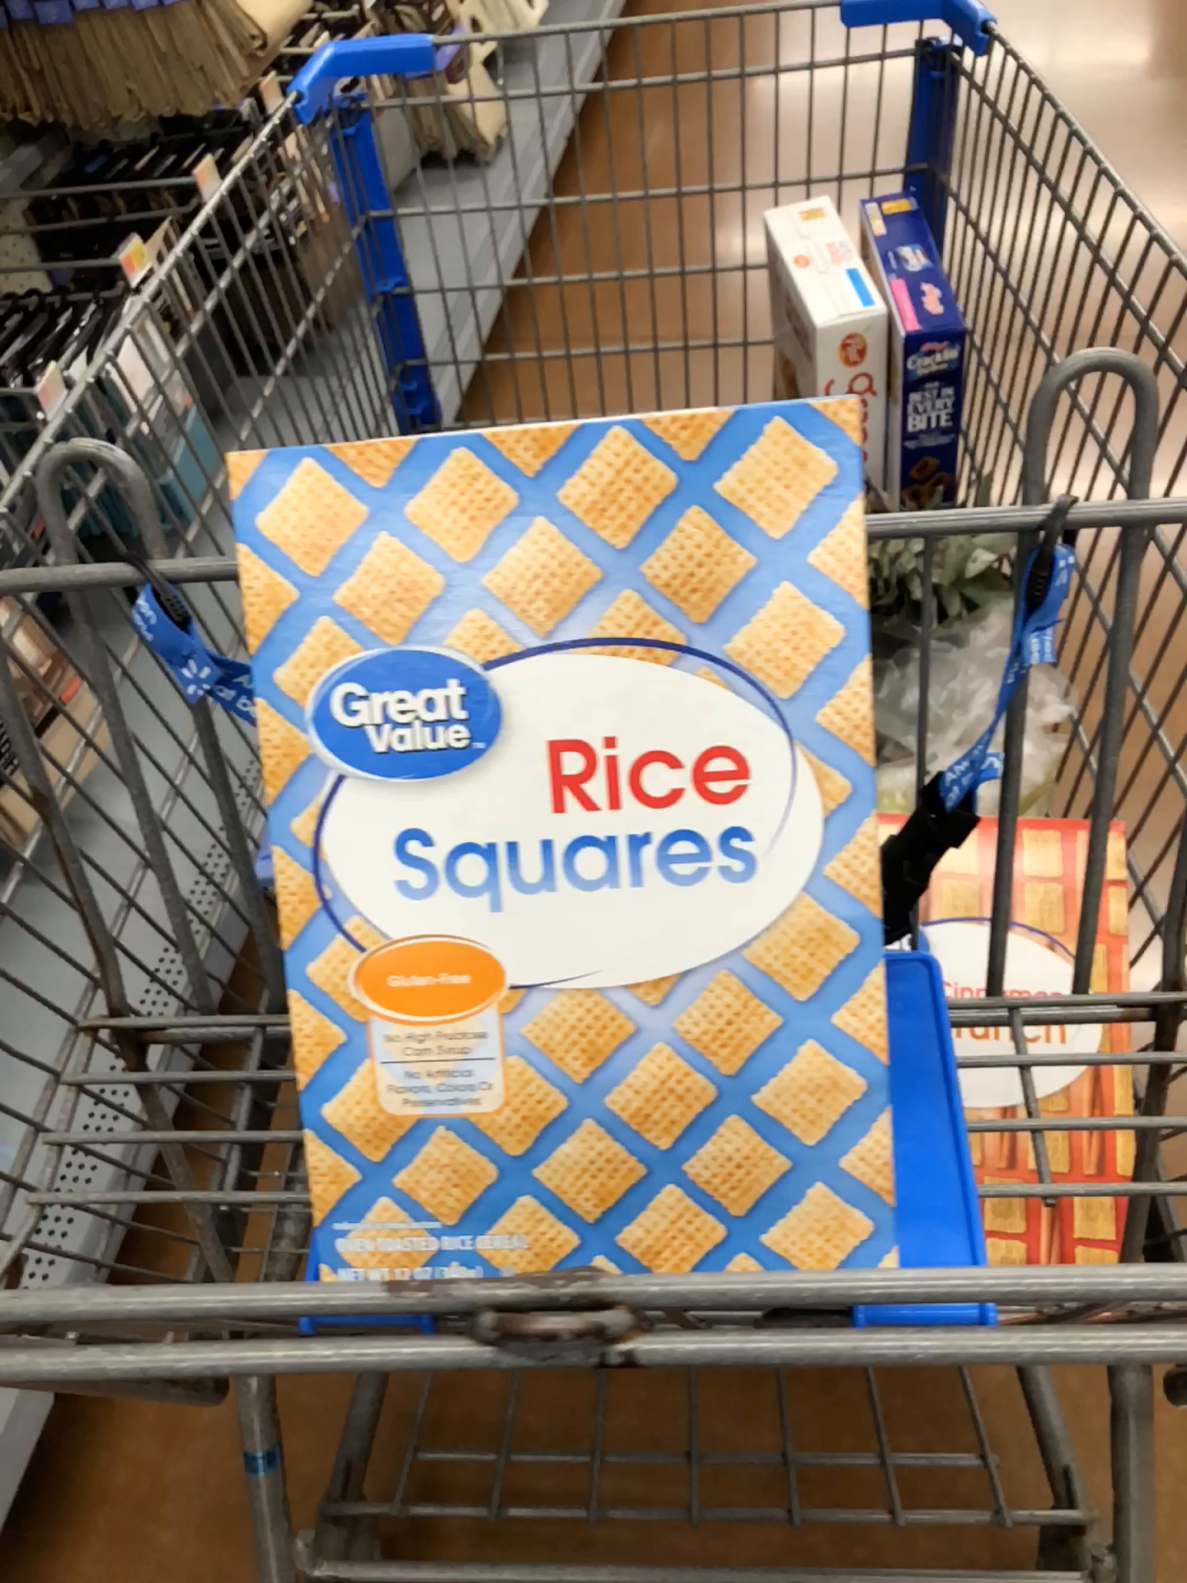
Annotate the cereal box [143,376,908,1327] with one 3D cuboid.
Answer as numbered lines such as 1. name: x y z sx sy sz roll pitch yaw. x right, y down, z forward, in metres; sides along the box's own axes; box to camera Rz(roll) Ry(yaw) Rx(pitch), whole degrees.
1. cereal box: -0.015 0.023 0.438 0.210 0.280 0.080 -4 7 6
